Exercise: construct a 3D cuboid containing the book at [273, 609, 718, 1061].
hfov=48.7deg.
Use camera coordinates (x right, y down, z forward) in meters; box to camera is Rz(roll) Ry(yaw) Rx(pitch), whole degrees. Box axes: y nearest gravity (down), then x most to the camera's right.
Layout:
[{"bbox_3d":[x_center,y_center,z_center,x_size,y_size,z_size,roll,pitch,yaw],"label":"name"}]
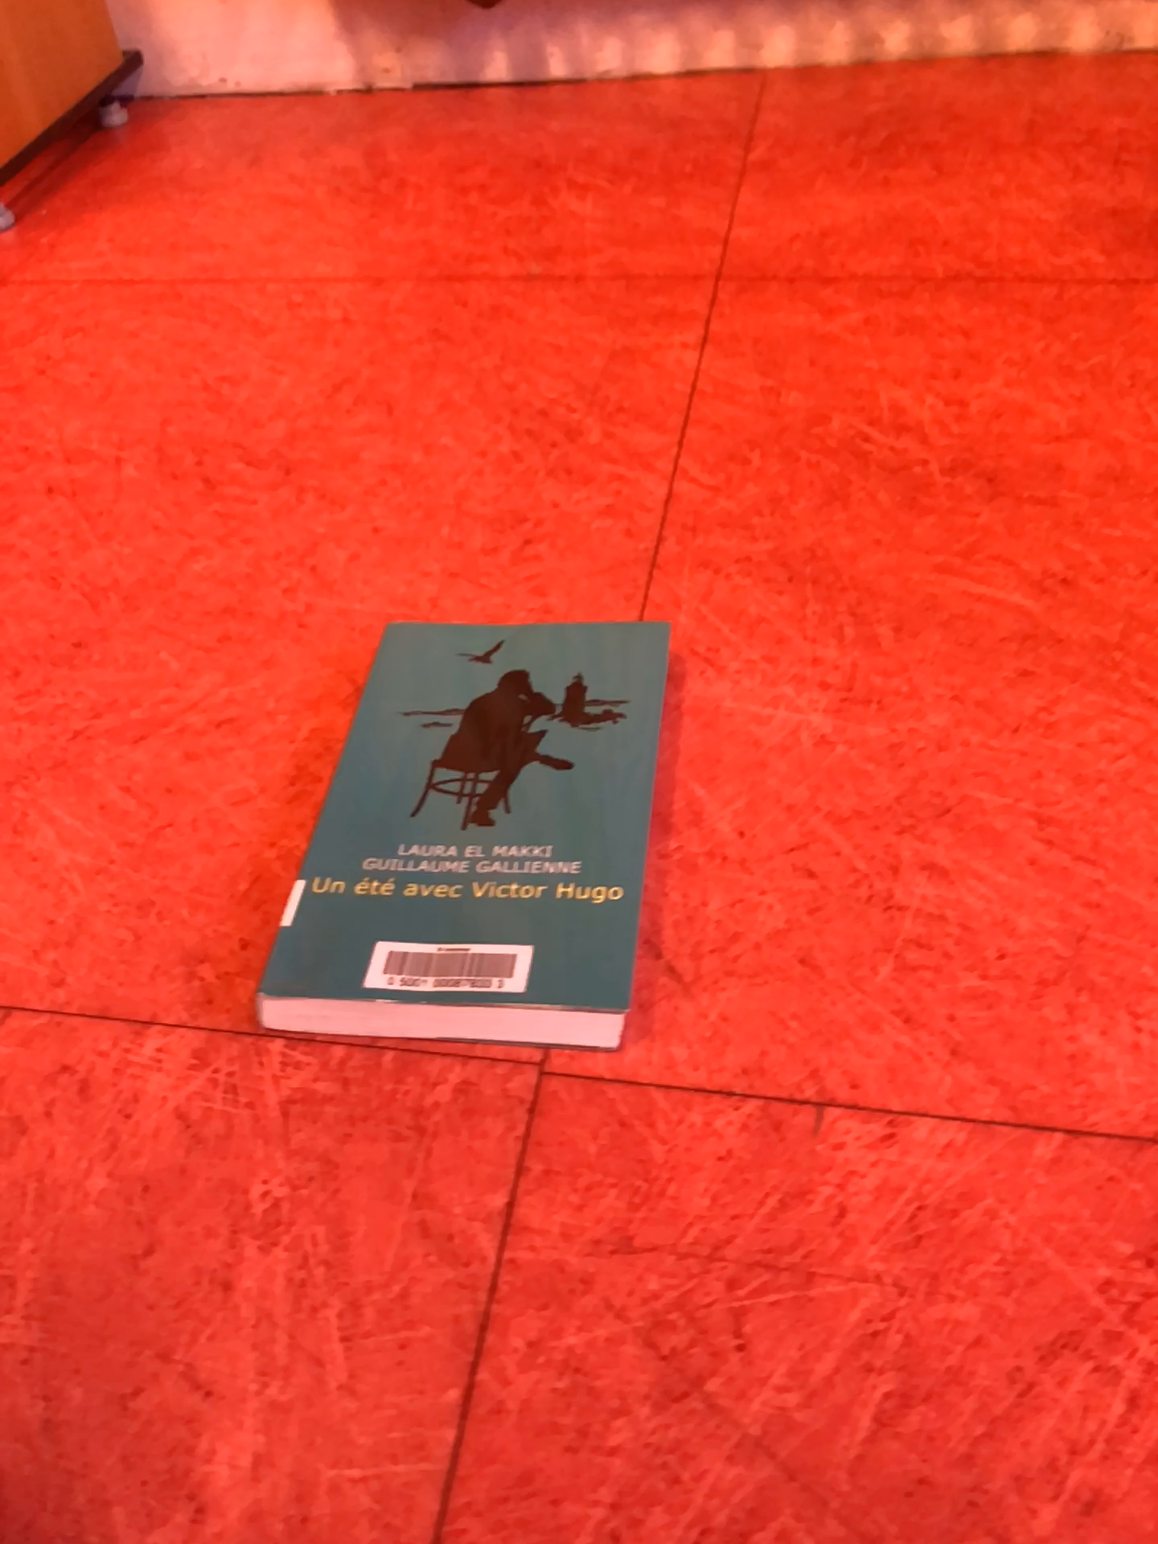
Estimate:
[{"bbox_3d":[-0.016,0.009,0.405,0.110,0.020,0.171,1,45,9],"label":"book"}]
